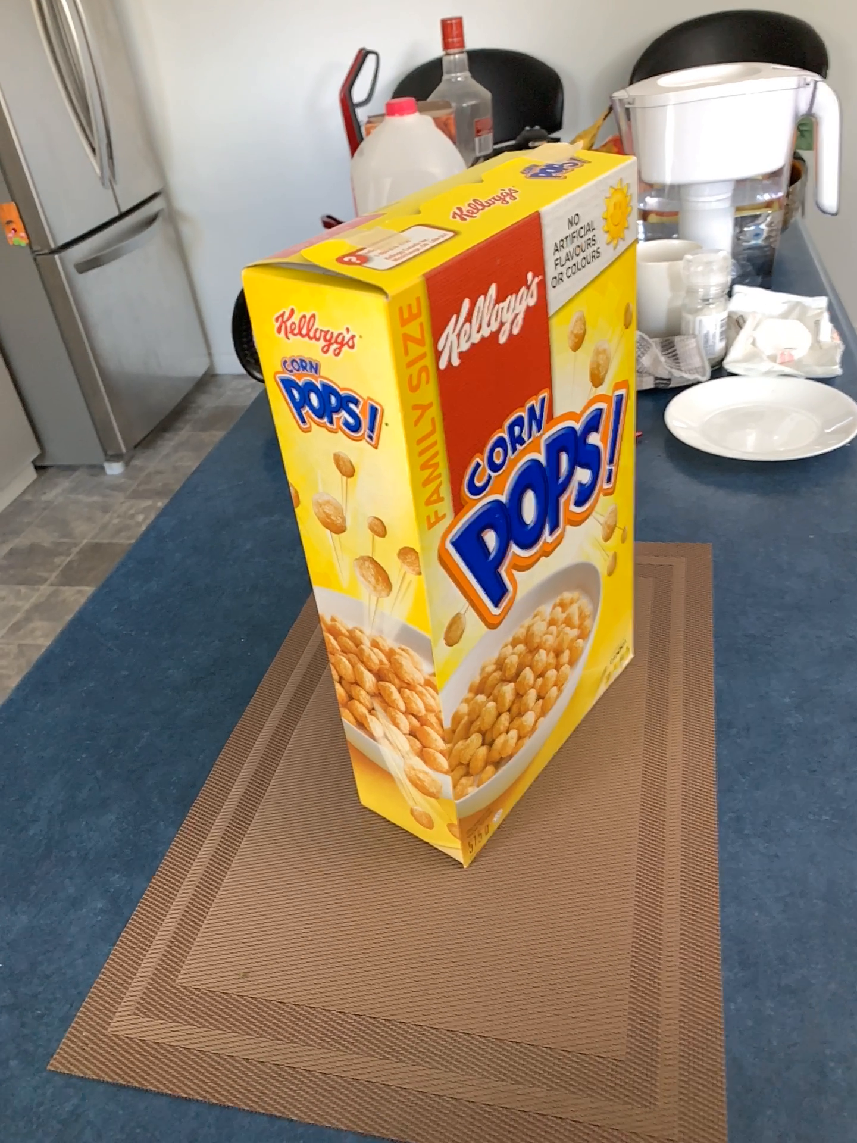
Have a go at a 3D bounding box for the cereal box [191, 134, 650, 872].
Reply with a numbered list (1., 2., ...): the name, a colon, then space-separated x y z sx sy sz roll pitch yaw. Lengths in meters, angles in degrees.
1. cereal box: 0.026 -0.037 0.469 0.090 0.317 0.211 18 42 34
